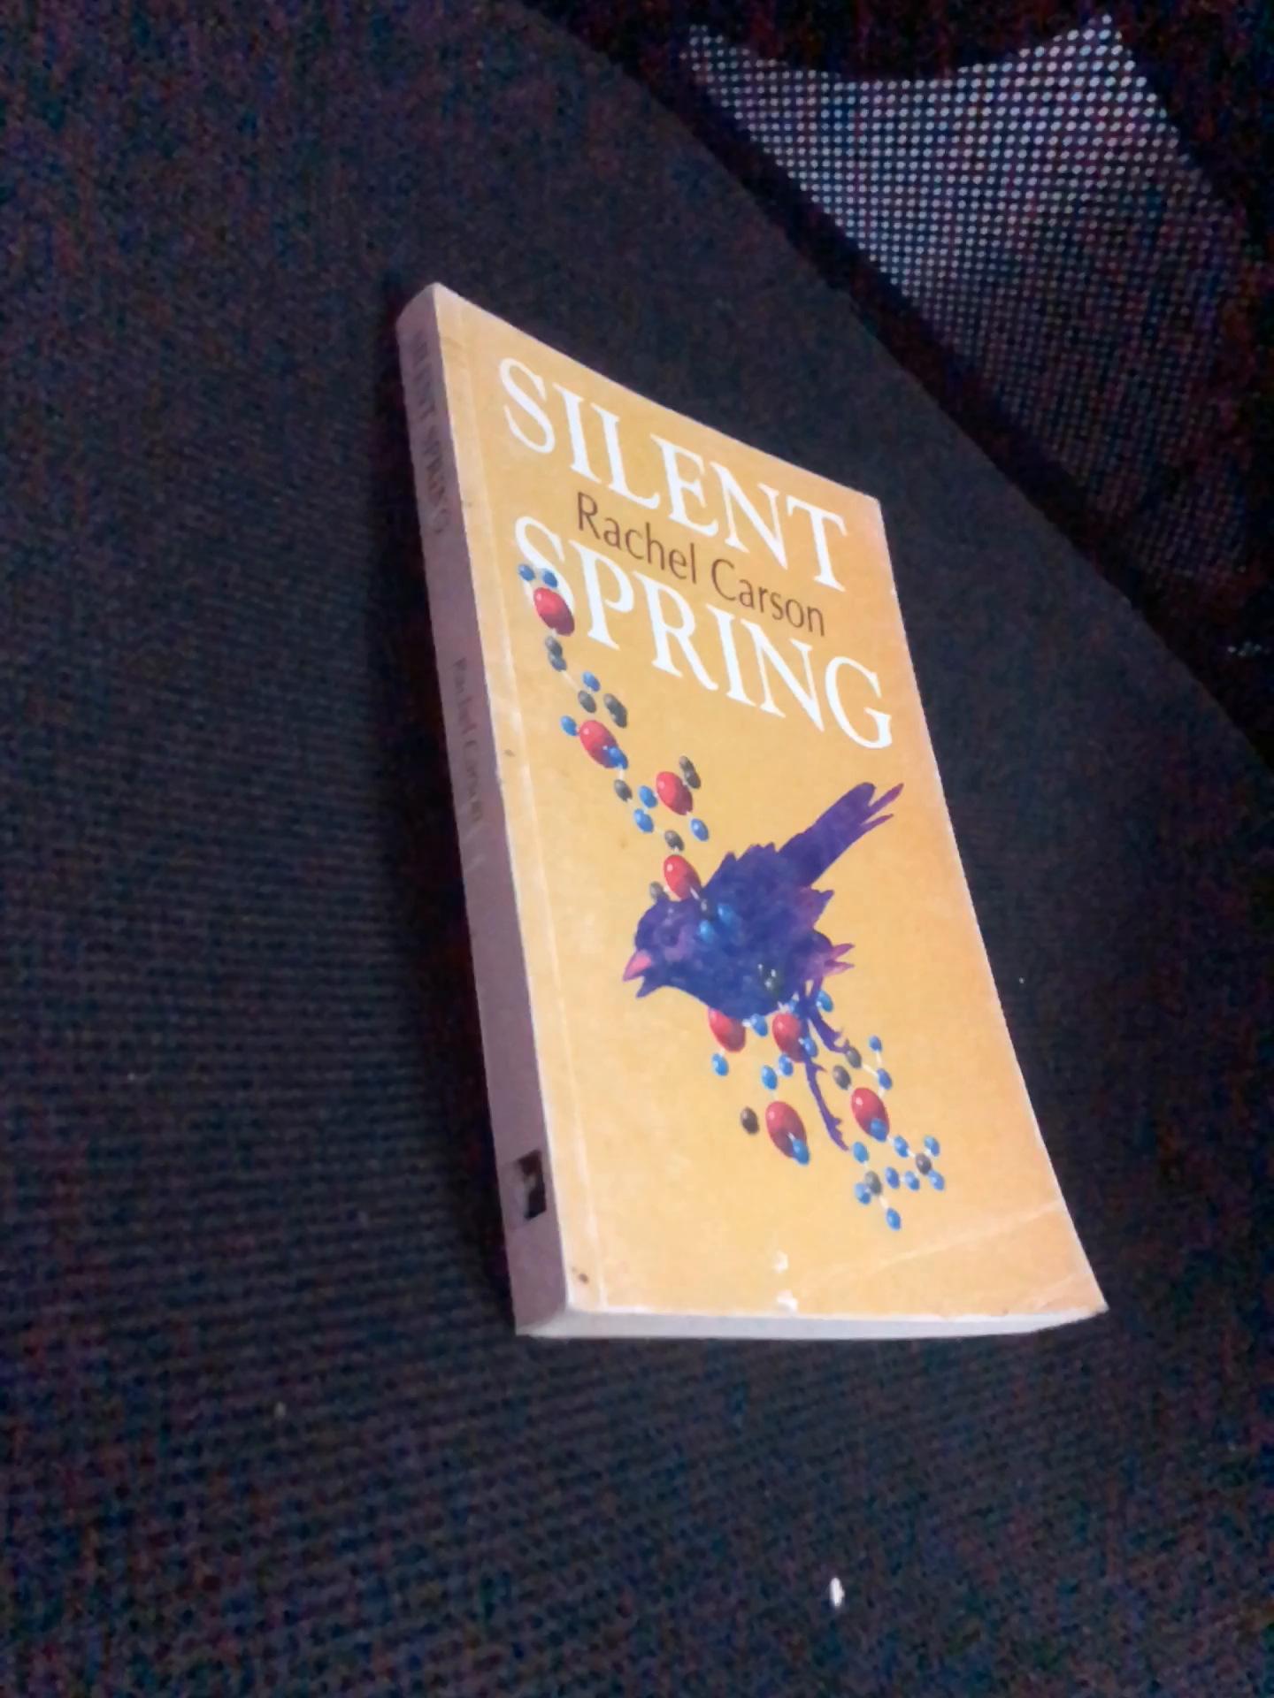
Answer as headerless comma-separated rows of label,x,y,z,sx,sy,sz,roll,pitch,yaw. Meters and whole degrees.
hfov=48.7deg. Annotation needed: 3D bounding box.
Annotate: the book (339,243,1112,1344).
book,0.016,-0.013,0.307,0.151,0.030,0.220,13,56,-37
